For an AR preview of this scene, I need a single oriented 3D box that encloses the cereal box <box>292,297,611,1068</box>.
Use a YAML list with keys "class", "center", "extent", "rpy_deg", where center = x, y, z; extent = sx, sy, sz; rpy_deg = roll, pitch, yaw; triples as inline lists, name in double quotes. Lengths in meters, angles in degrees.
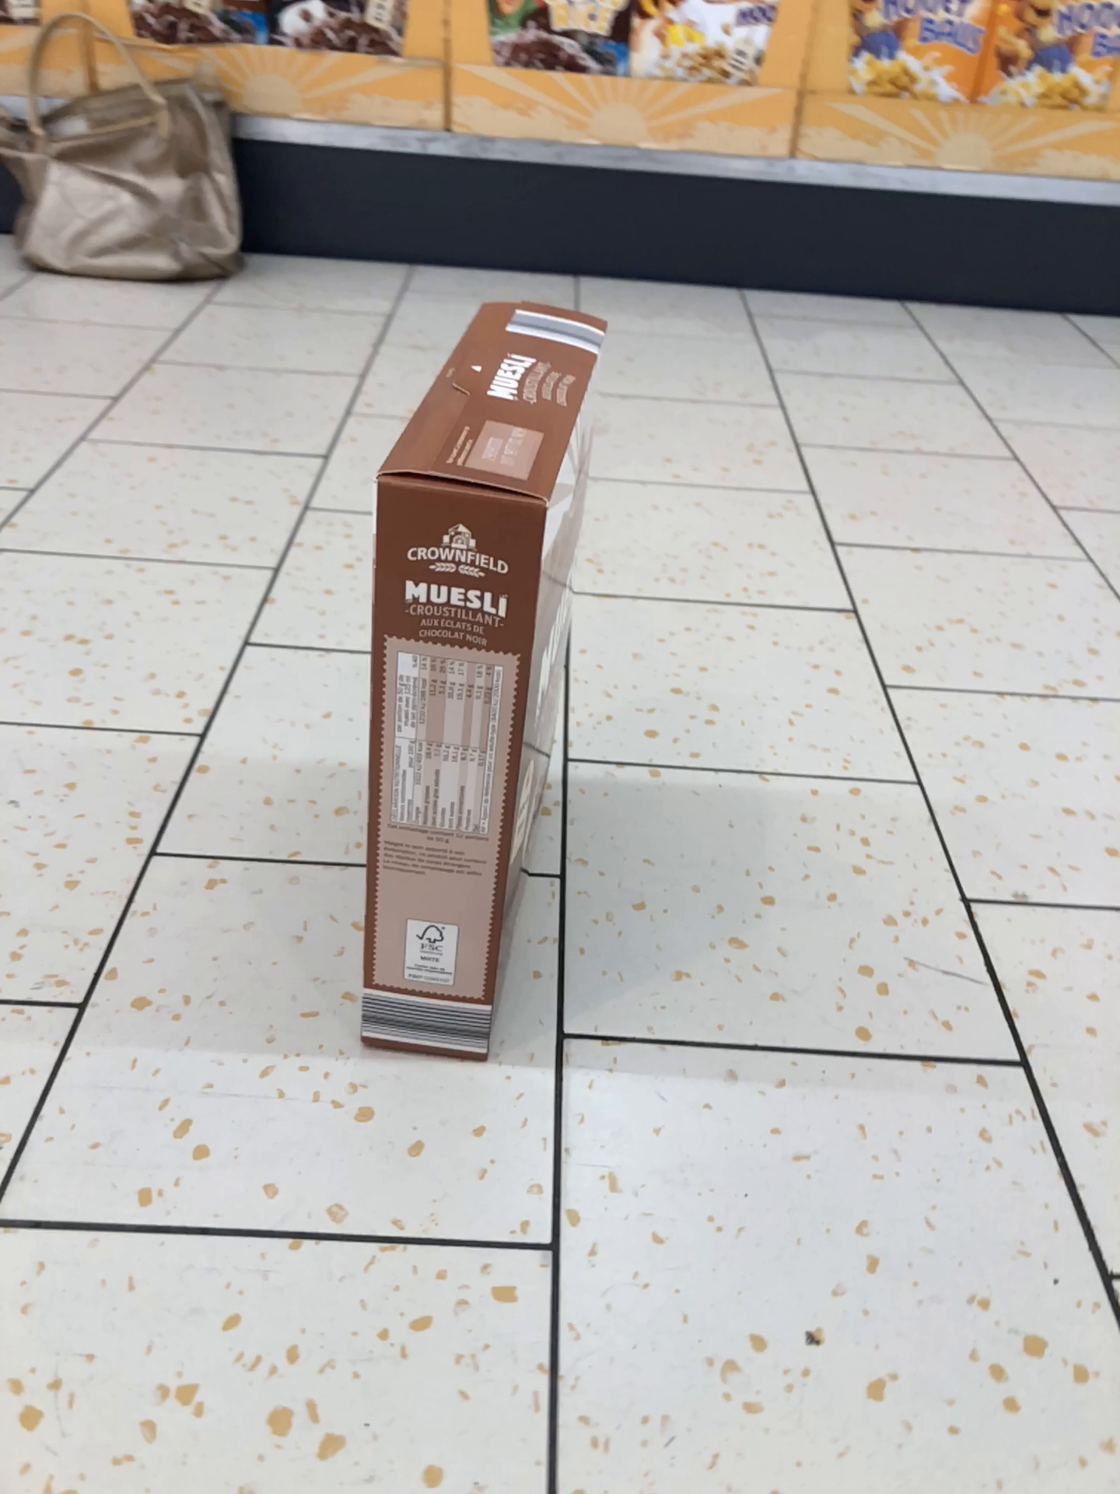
- class: "cereal box"
  center: [-0.036, -0.032, 0.506]
  extent: [0.070, 0.239, 0.201]
  rpy_deg: [8, 34, 5]
